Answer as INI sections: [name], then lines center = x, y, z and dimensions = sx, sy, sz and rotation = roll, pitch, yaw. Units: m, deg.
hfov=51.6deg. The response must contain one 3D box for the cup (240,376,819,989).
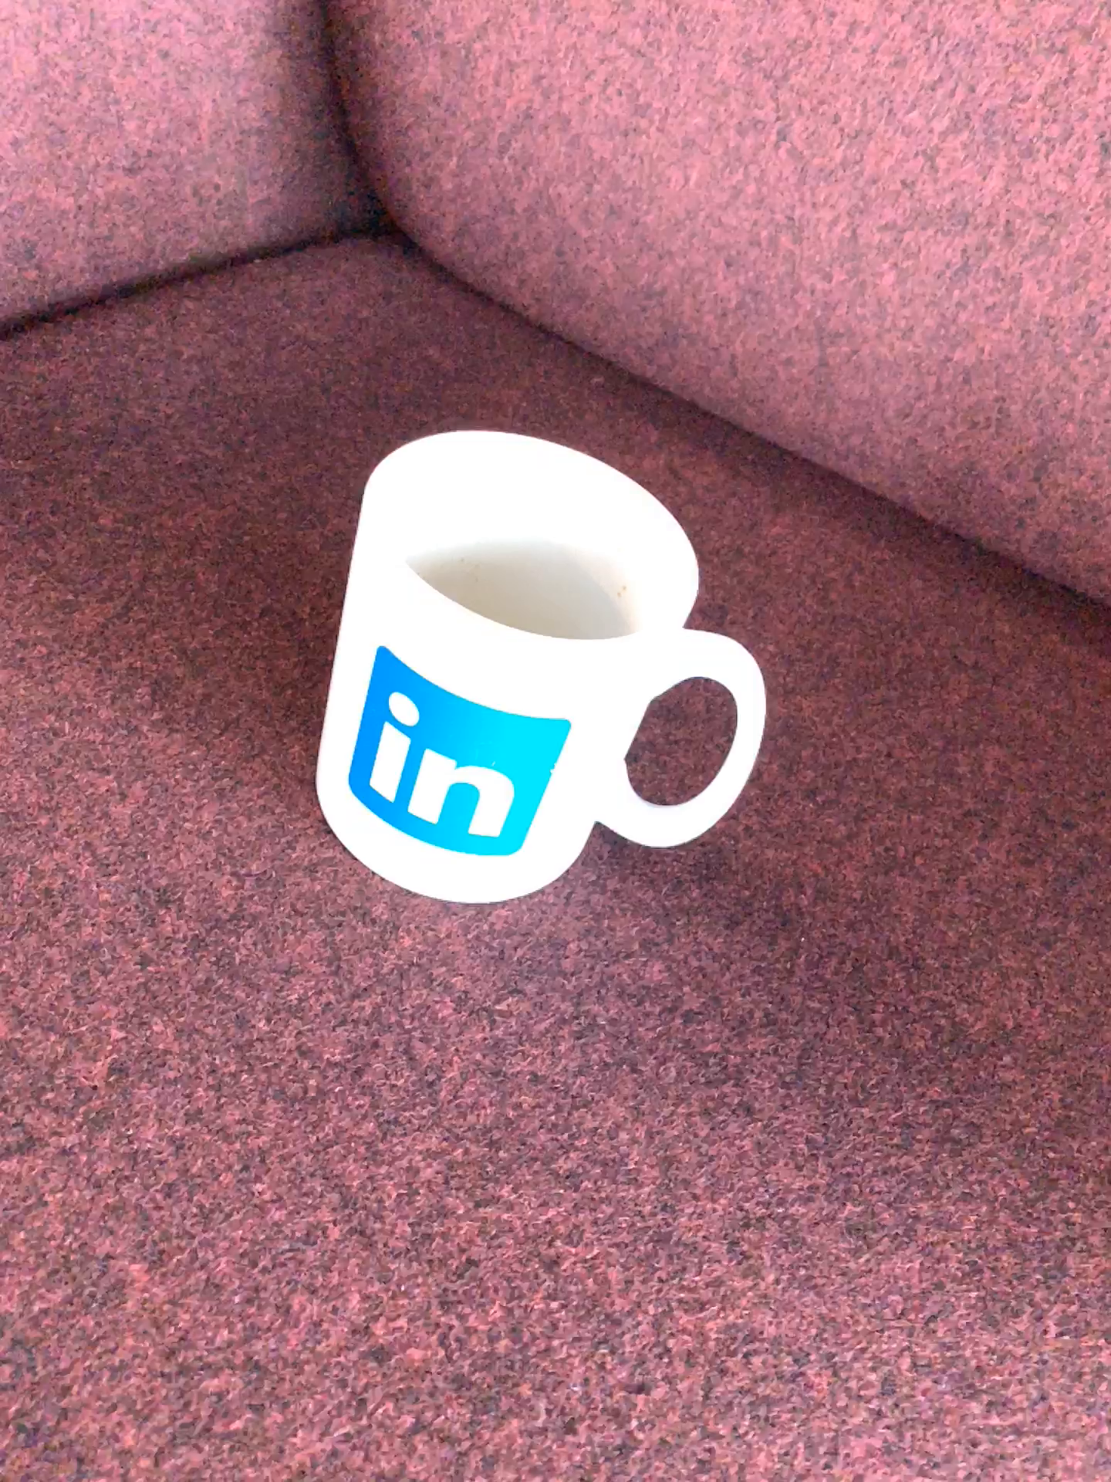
[cup]
center = -0.008, -0.015, 0.275
dimensions = 0.104, 0.089, 0.075
rotation = 22, 43, 6
